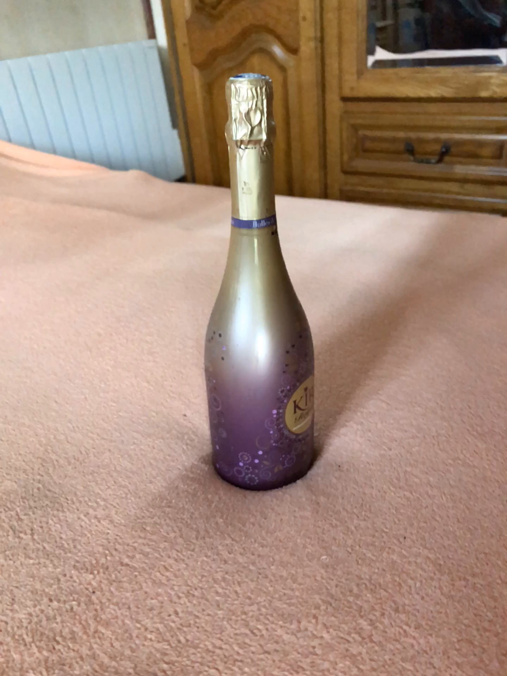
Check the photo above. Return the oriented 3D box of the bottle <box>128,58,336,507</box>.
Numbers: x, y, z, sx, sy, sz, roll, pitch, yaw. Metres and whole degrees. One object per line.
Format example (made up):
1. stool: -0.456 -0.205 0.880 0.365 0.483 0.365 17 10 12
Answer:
1. bottle: -0.002 -0.034 0.424 0.090 0.308 0.091 -4 27 2
